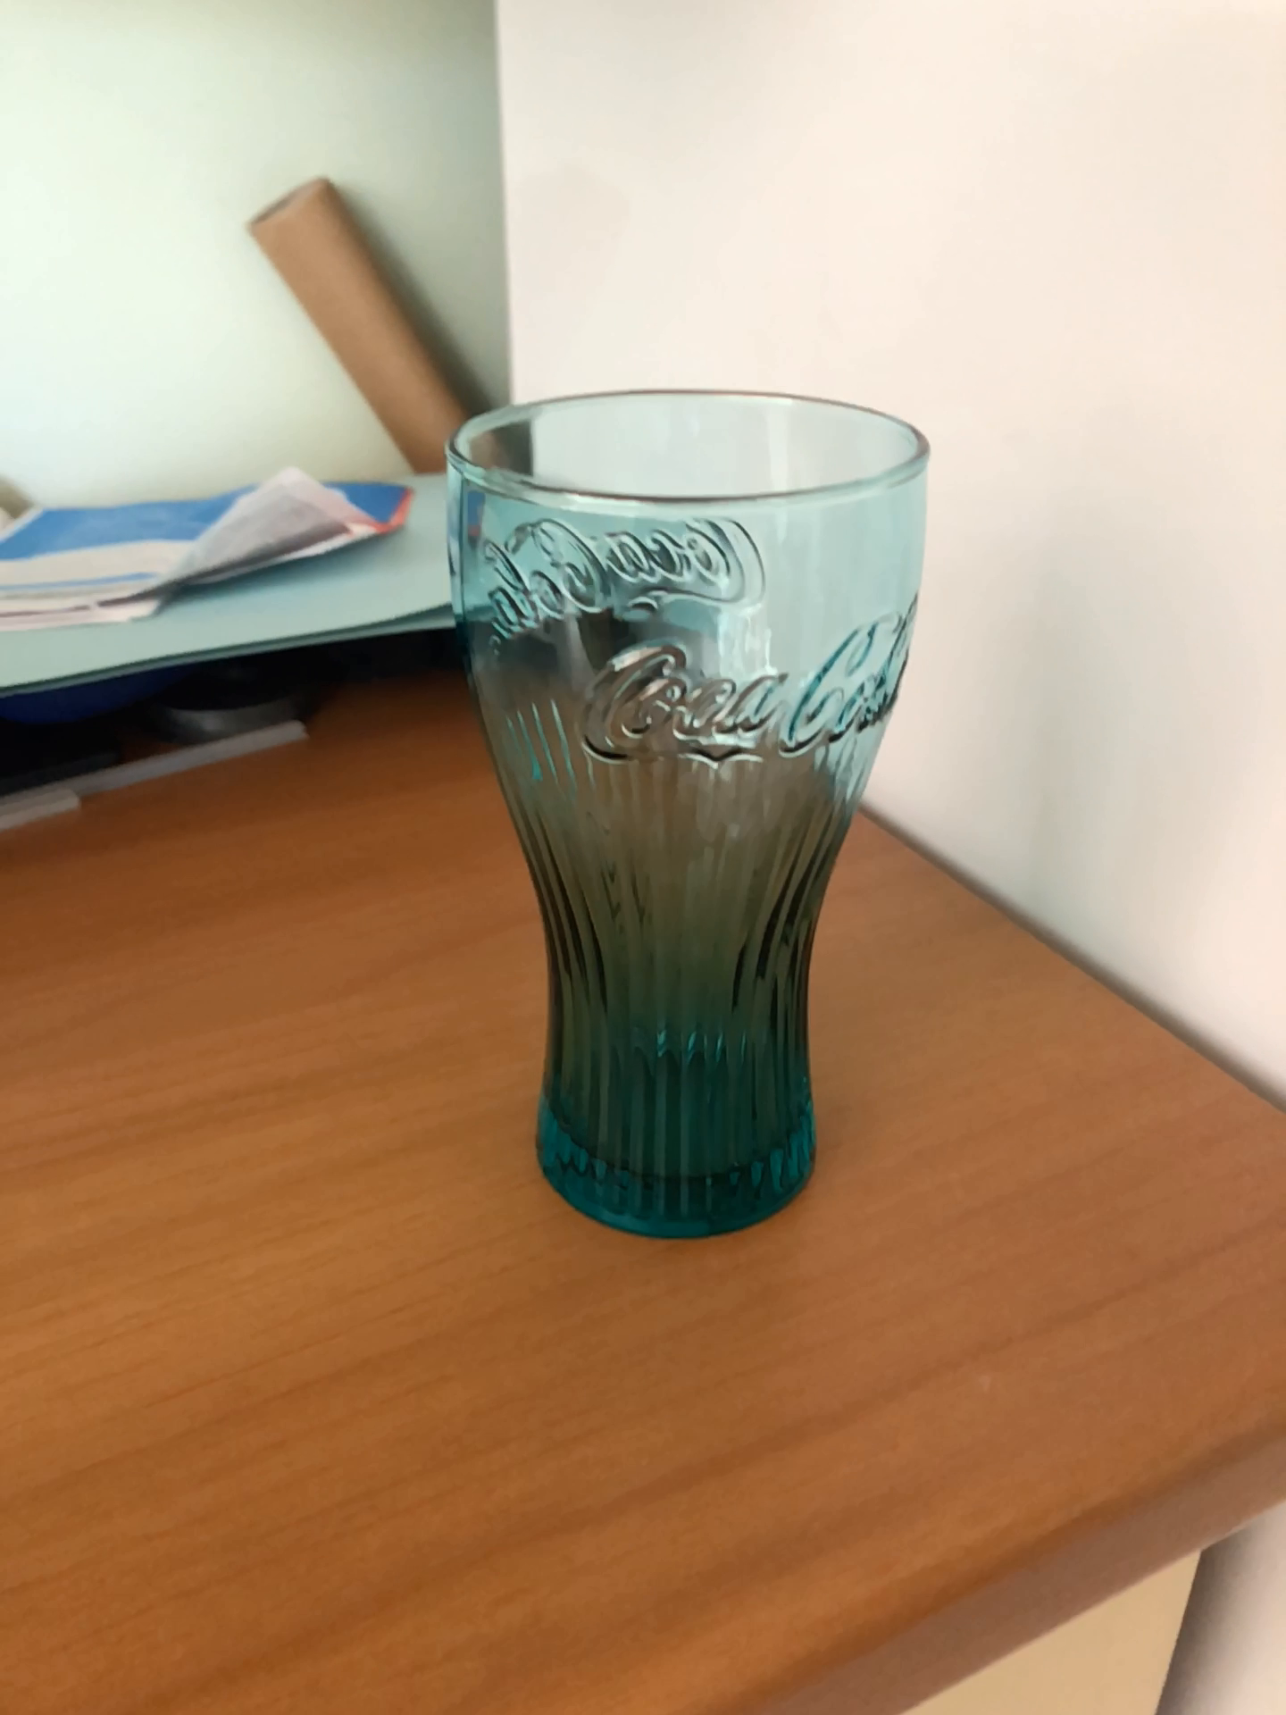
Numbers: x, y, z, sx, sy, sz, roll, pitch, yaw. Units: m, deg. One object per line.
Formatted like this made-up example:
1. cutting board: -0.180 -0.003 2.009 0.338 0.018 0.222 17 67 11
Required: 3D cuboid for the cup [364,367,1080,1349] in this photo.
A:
1. cup: 0.009 -0.006 0.256 0.080 0.139 0.080 0 28 0
